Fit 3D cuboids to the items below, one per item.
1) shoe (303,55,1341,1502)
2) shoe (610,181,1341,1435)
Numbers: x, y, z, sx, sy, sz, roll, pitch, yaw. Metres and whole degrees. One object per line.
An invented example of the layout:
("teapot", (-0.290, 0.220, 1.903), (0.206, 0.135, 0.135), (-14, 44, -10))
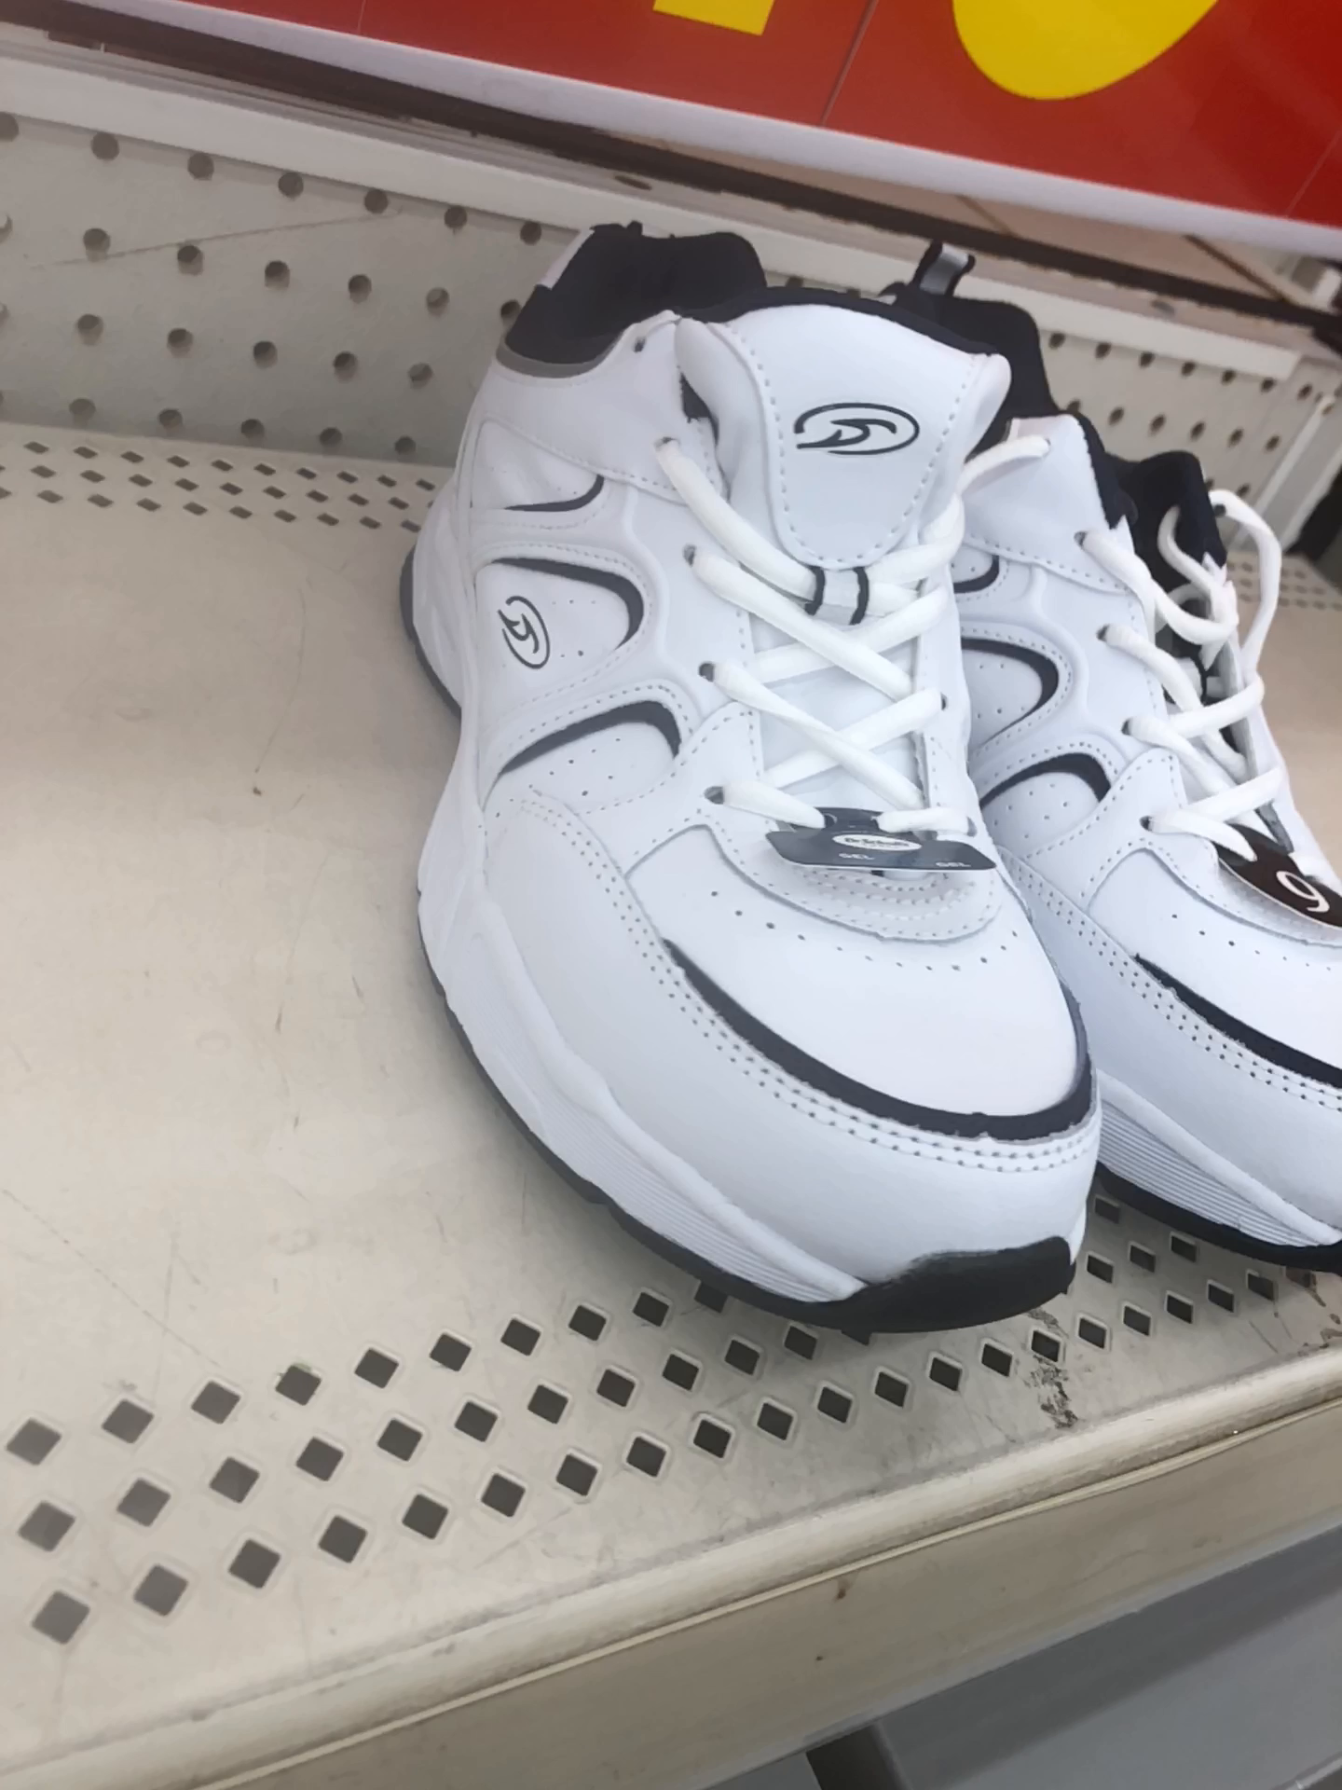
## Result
("shoe", (0.011, -0.043, 0.291), (0.110, 0.120, 0.261), (3, 42, -26))
("shoe", (0.096, -0.038, 0.339), (0.110, 0.120, 0.261), (0, 43, -29))
